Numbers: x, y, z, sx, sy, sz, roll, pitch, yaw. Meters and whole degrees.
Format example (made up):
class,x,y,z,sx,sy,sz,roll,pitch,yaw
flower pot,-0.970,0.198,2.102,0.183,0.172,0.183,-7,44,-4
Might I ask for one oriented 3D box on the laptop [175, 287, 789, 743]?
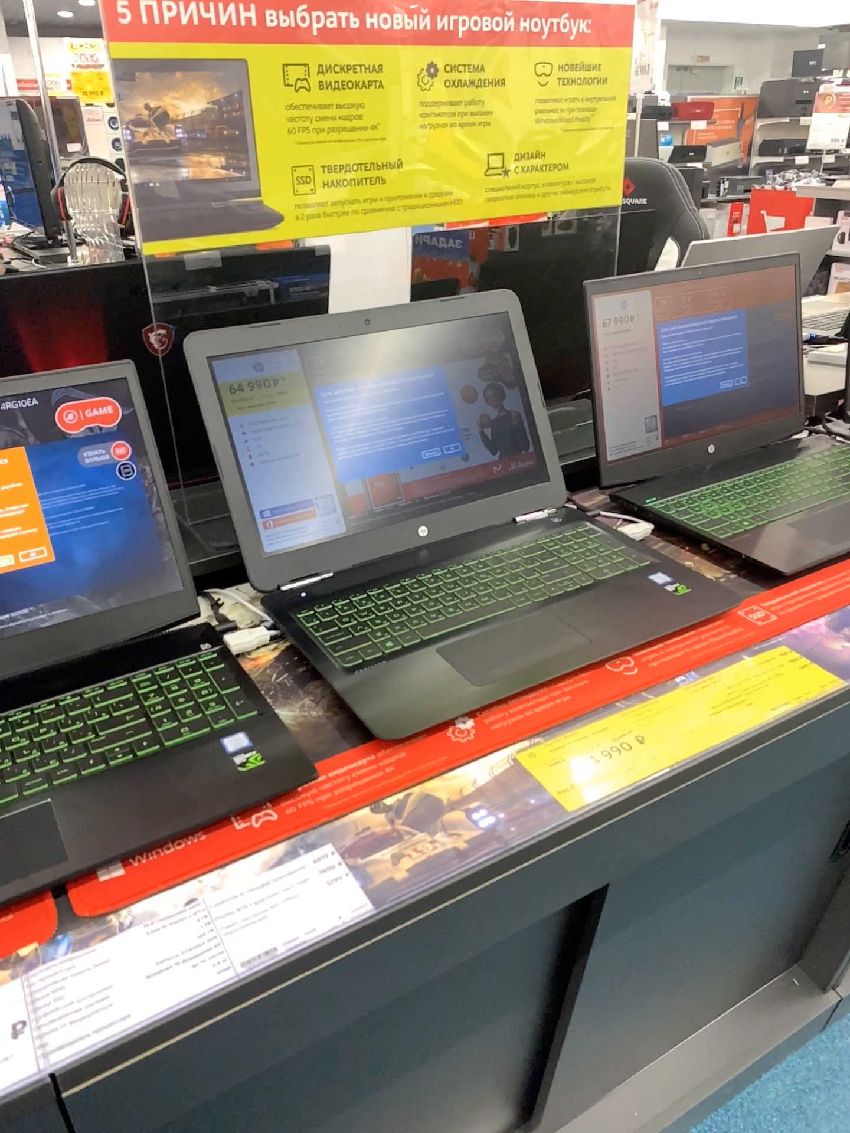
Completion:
class,x,y,z,sx,sy,sz,roll,pitch,yaw
laptop,0.034,-0.096,0.802,0.385,0.223,0.380,-16,31,-28
